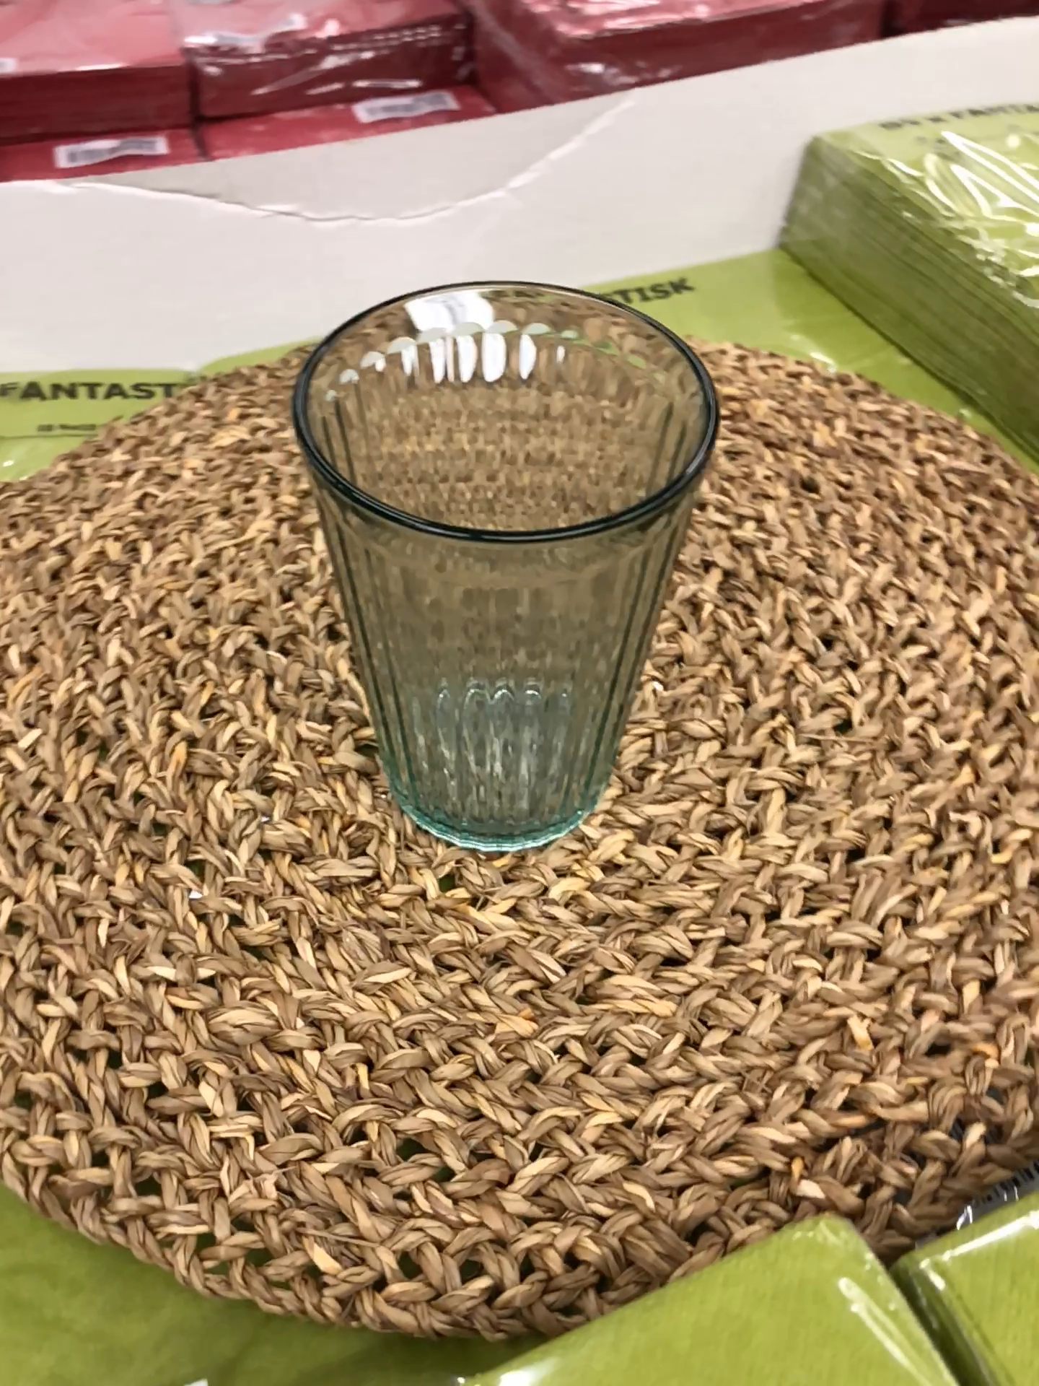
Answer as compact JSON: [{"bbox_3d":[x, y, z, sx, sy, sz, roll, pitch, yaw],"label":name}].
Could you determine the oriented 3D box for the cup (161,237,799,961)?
[{"bbox_3d":[-0.007,-0.021,0.241,0.080,0.100,0.080,0,46,0],"label":"cup"}]
